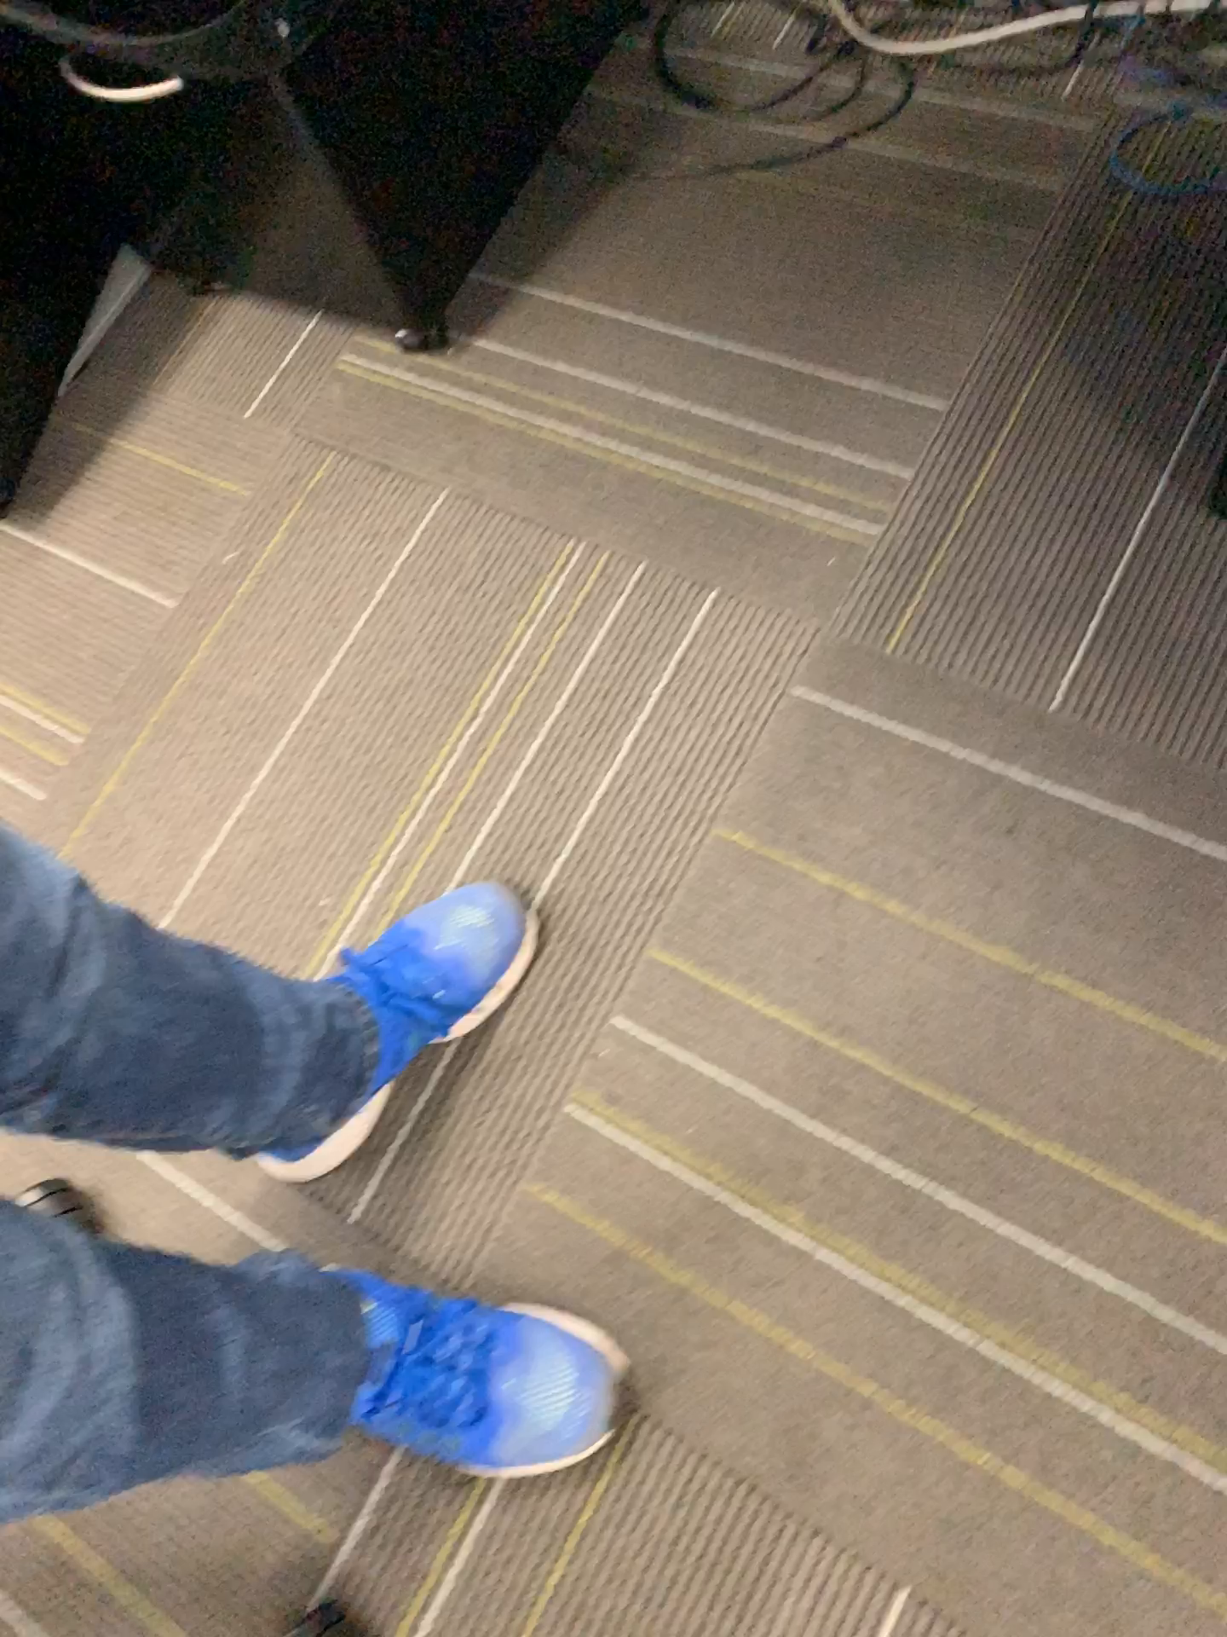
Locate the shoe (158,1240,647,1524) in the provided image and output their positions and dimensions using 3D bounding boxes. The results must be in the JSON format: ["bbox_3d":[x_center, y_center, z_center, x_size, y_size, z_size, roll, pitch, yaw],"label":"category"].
[{"bbox_3d":[-0.157,0.400,0.914,0.339,0.088,0.119,1,68,25],"label":"shoe"}]

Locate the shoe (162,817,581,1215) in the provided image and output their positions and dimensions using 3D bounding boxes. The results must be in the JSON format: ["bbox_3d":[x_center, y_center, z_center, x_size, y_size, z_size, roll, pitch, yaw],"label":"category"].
[{"bbox_3d":[-0.197,0.163,1.017,0.310,0.088,0.142,-42,64,6],"label":"shoe"}]
